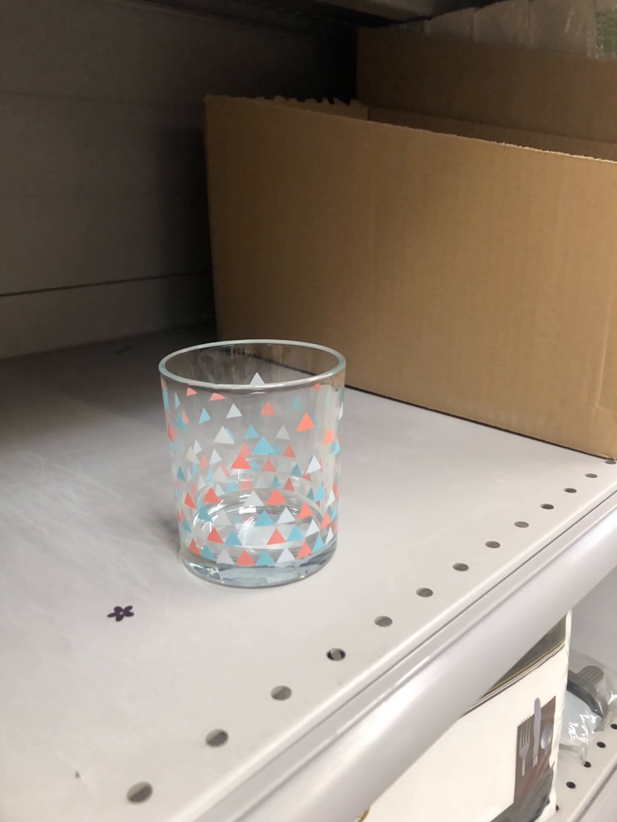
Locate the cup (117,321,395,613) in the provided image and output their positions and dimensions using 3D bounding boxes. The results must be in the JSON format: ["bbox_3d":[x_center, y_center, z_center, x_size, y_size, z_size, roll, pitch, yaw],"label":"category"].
[{"bbox_3d":[-0.020,0.014,0.276,0.077,0.081,0.076,0,18,0],"label":"cup"}]
